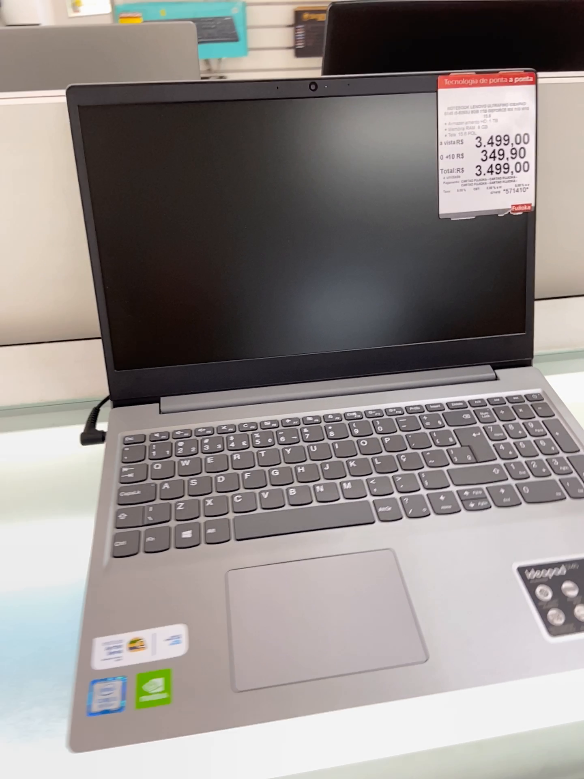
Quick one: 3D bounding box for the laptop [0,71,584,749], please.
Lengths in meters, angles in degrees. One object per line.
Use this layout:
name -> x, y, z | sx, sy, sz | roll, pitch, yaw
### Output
laptop -> 0.042, -0.038, 0.382 | 0.359, 0.201, 0.368 | -5, 42, -7
